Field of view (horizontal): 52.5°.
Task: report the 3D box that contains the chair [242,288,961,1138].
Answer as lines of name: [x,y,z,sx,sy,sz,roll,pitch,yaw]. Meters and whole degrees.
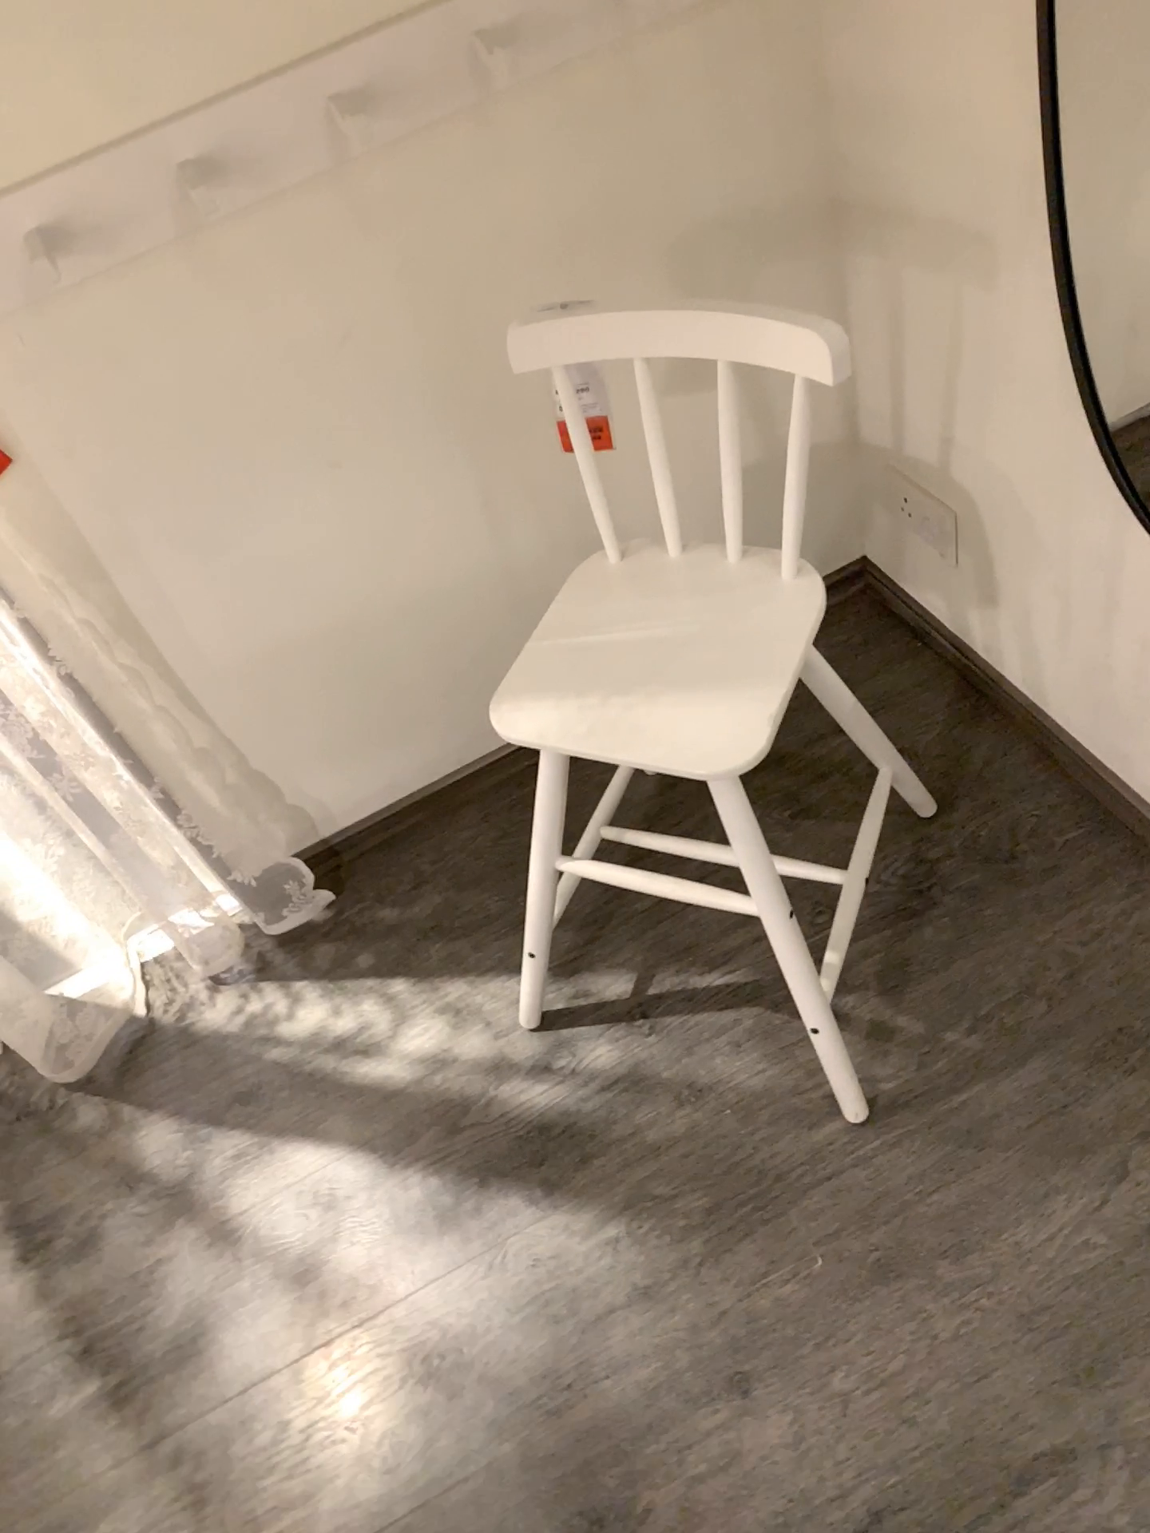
chair: [0.111,-0.041,1.179,0.451,0.657,0.481,9,54,24]
